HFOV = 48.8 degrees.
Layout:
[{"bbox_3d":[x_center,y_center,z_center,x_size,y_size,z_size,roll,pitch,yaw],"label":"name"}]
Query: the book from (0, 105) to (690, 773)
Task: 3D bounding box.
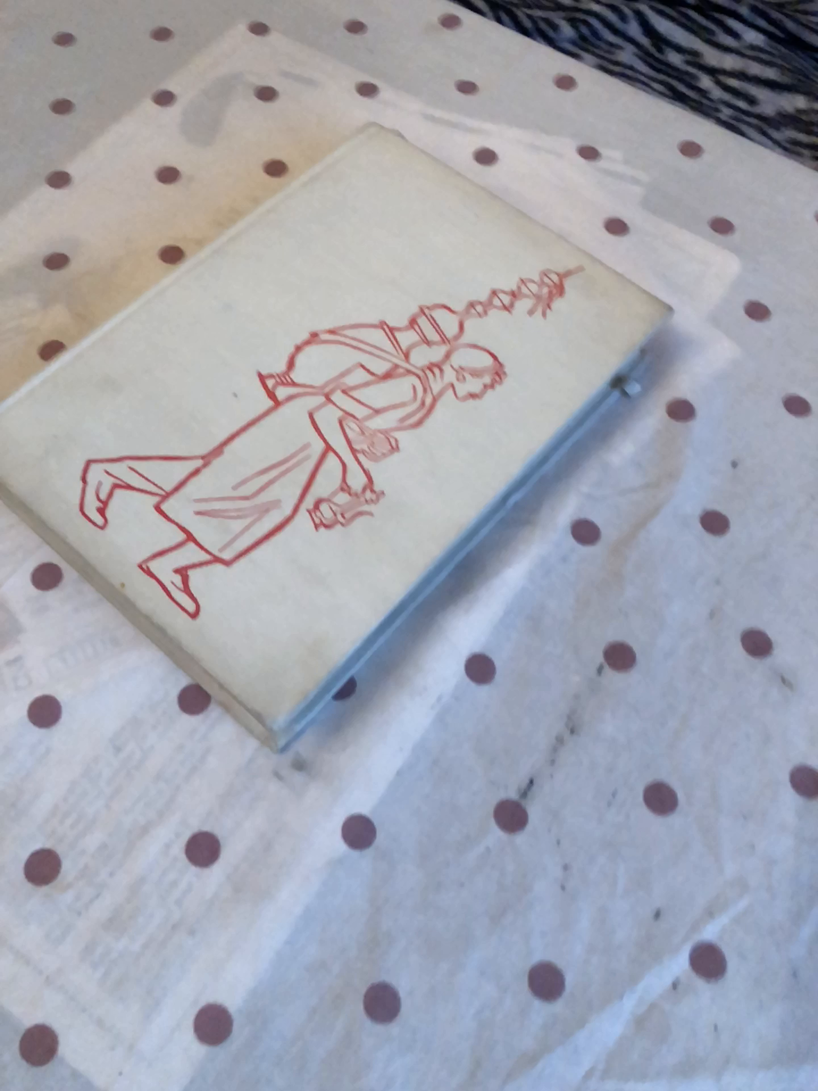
[{"bbox_3d":[-0.029,-0.061,0.372,0.174,0.050,0.240,38,68,16],"label":"book"}]
